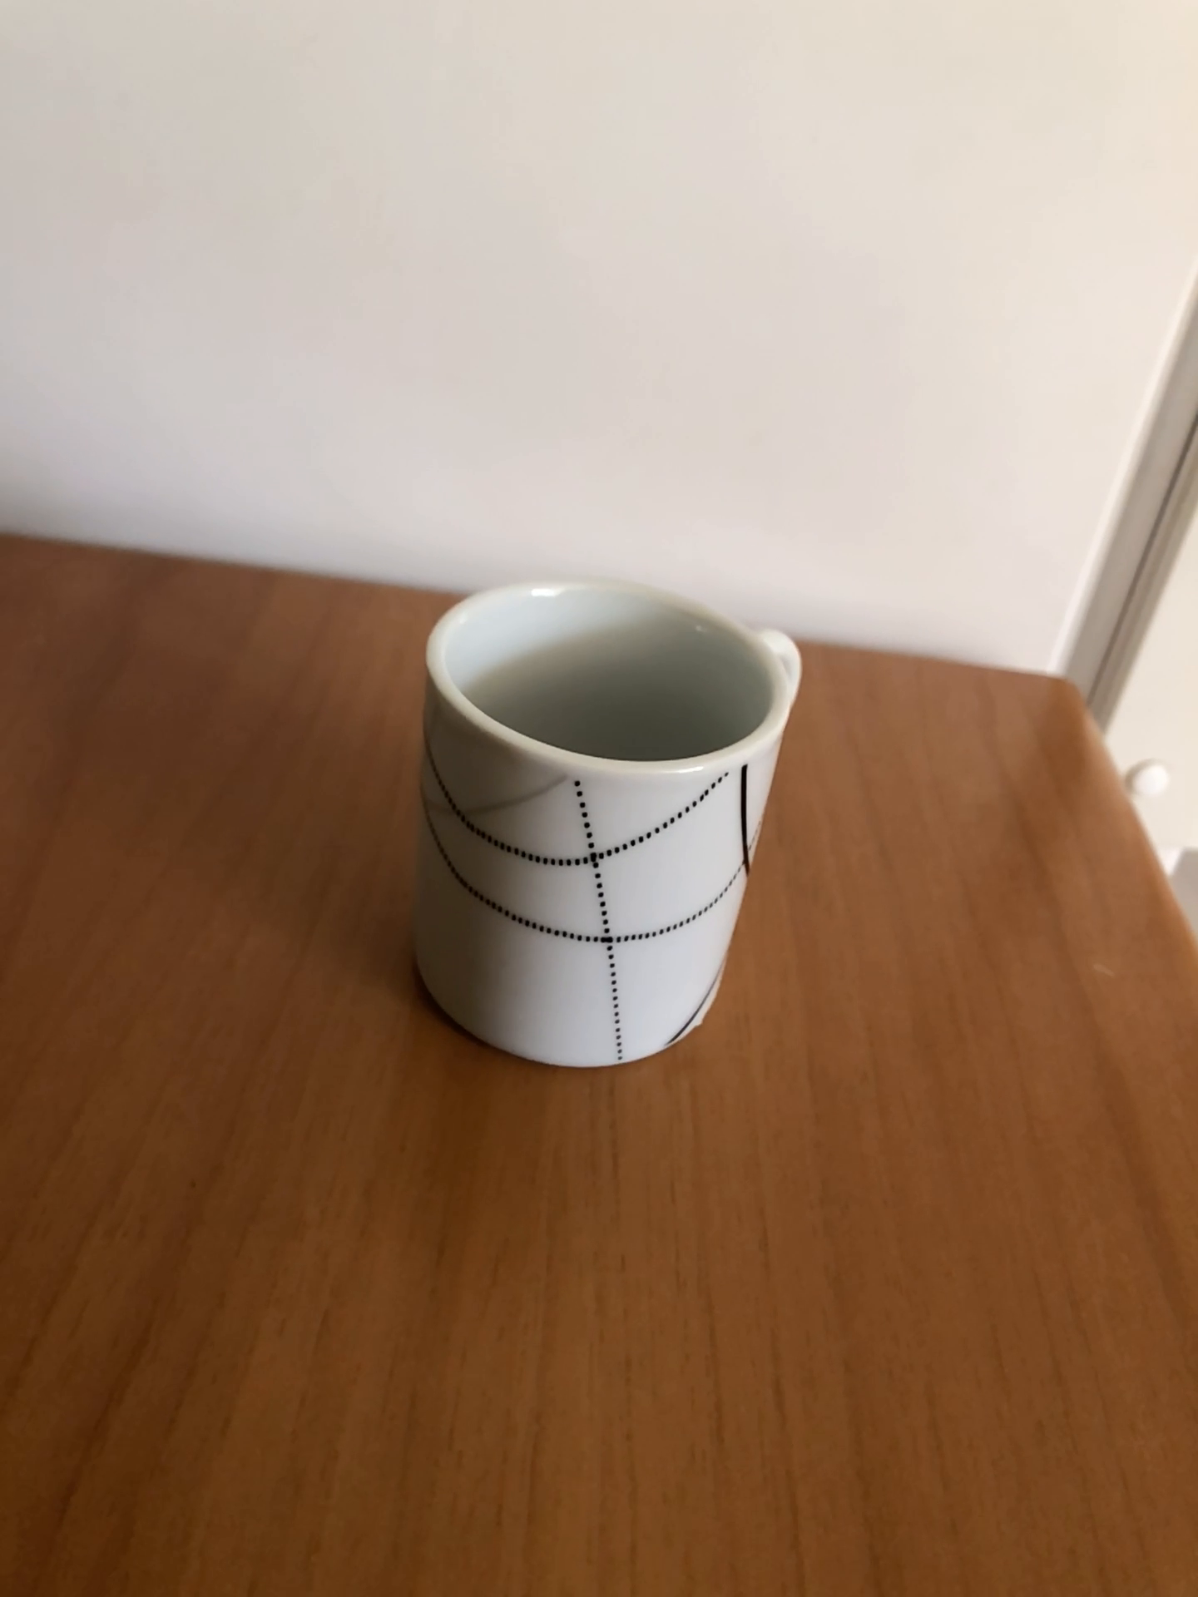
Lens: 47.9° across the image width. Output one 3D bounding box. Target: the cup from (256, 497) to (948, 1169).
[{"bbox_3d":[-0.001,-0.001,0.191,0.060,0.050,0.070,32,40,29],"label":"cup"}]
